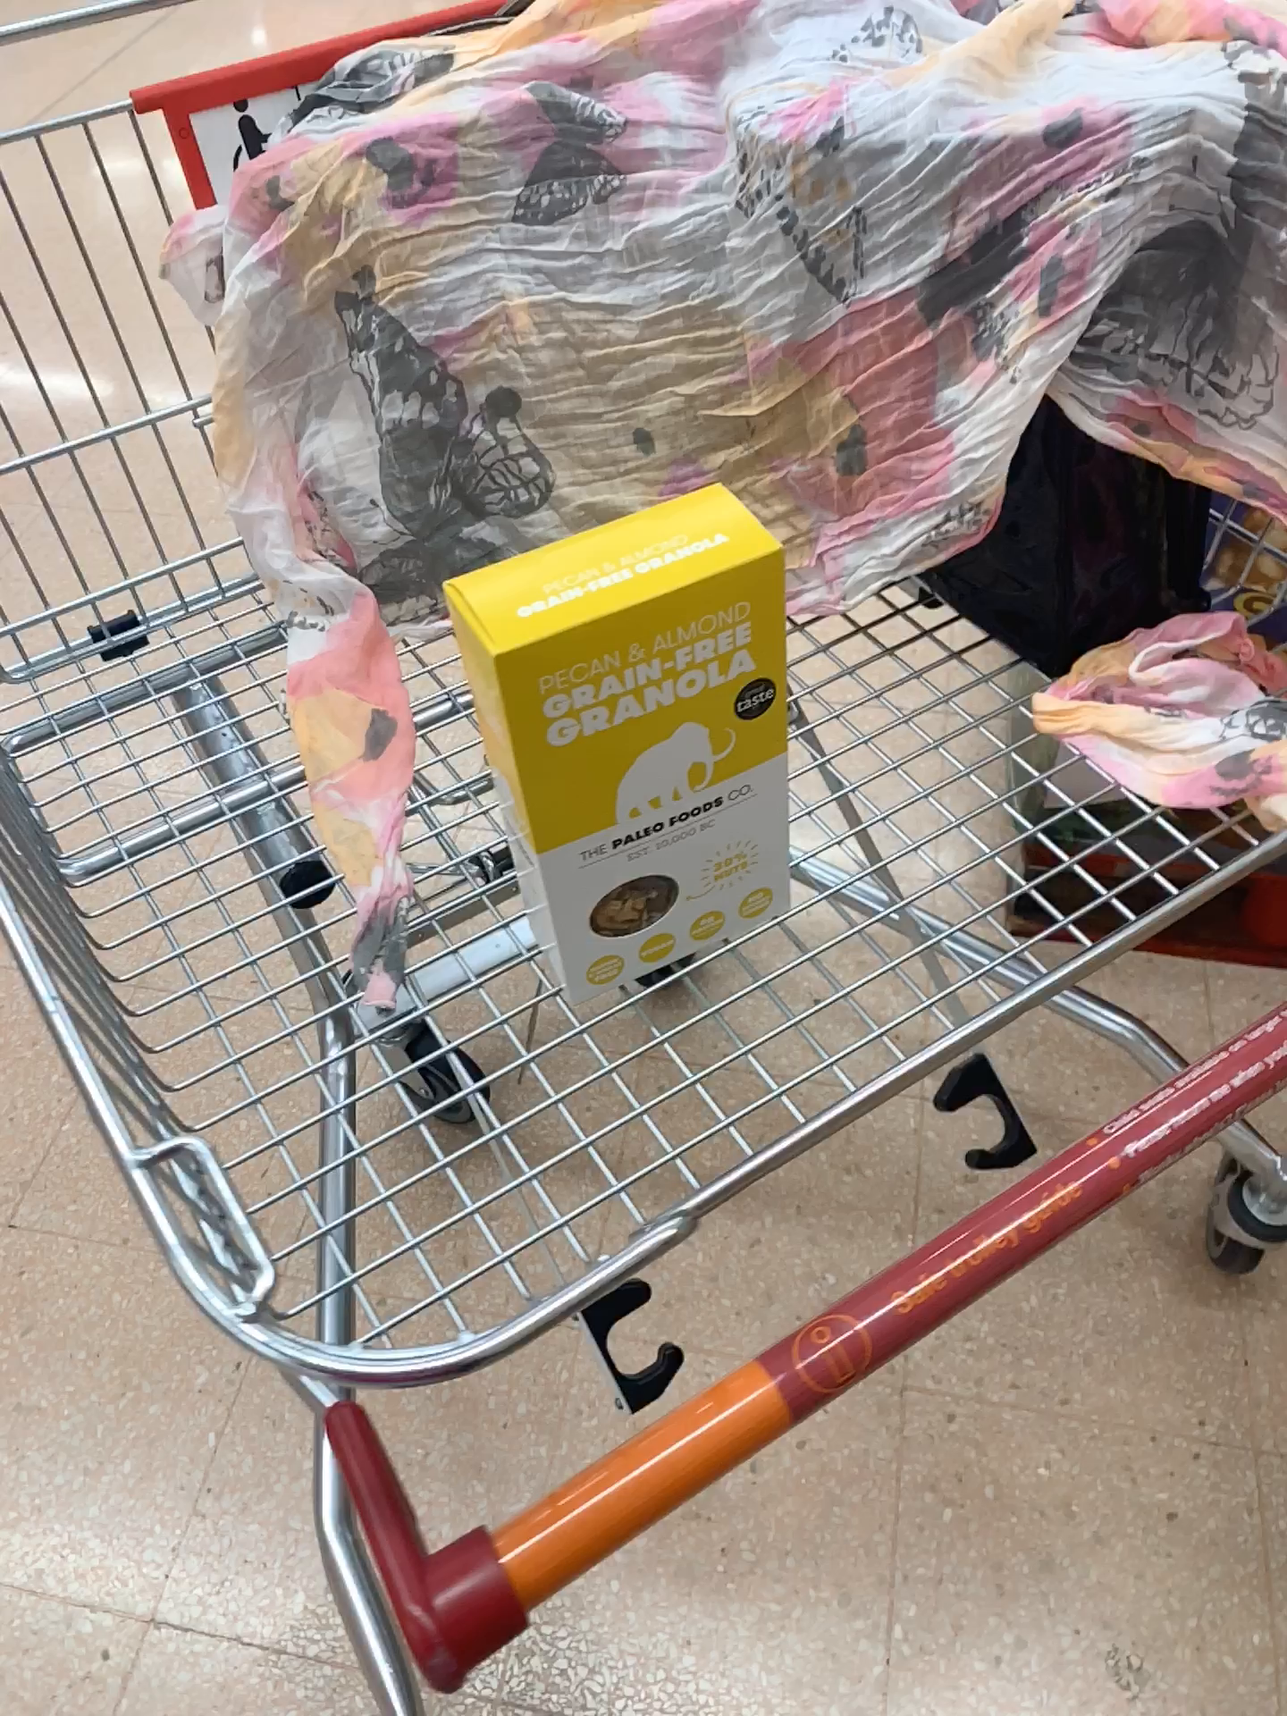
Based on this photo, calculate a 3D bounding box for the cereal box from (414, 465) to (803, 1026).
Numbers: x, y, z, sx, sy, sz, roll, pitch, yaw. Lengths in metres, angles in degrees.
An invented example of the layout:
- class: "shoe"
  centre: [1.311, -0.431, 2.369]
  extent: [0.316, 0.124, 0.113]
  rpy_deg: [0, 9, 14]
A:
- class: "cereal box"
  centre: [-0.005, -0.040, 0.556]
  extent: [0.130, 0.208, 0.060]
  rpy_deg: [-22, 47, -15]
